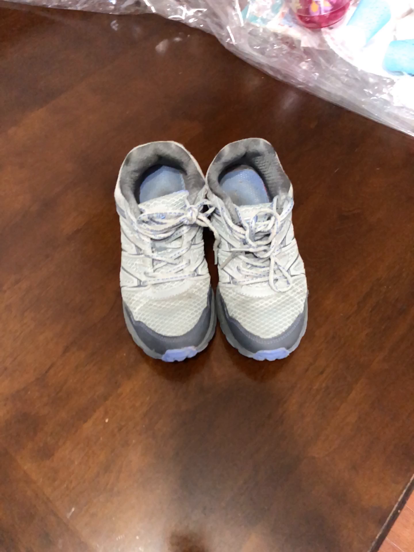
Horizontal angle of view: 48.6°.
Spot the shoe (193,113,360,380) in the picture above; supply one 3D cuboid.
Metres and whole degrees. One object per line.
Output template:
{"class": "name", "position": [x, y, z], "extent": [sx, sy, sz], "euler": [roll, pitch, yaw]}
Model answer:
{"class": "shoe", "position": [0.055, -0.038, 0.484], "extent": [0.110, 0.100, 0.260], "euler": [-6, 60, -4]}

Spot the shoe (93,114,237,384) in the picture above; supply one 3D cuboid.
{"class": "shoe", "position": [-0.049, -0.034, 0.467], "extent": [0.110, 0.100, 0.250], "euler": [-7, 60, -4]}
